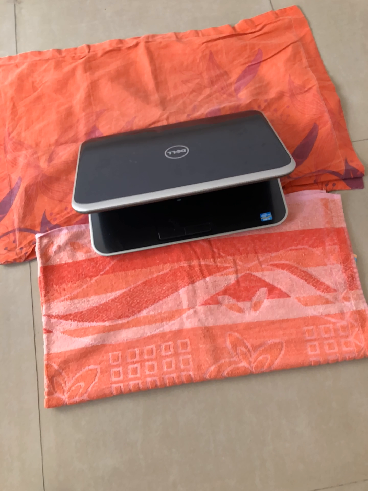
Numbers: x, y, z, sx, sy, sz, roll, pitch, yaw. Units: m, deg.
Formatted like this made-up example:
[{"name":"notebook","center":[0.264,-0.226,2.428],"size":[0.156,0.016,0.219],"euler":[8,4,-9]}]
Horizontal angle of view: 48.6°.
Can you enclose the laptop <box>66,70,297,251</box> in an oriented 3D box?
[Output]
[{"name":"laptop","center":[-0.011,-0.150,0.737],"size":[0.345,0.129,0.242],"euler":[-11,70,-2]}]
